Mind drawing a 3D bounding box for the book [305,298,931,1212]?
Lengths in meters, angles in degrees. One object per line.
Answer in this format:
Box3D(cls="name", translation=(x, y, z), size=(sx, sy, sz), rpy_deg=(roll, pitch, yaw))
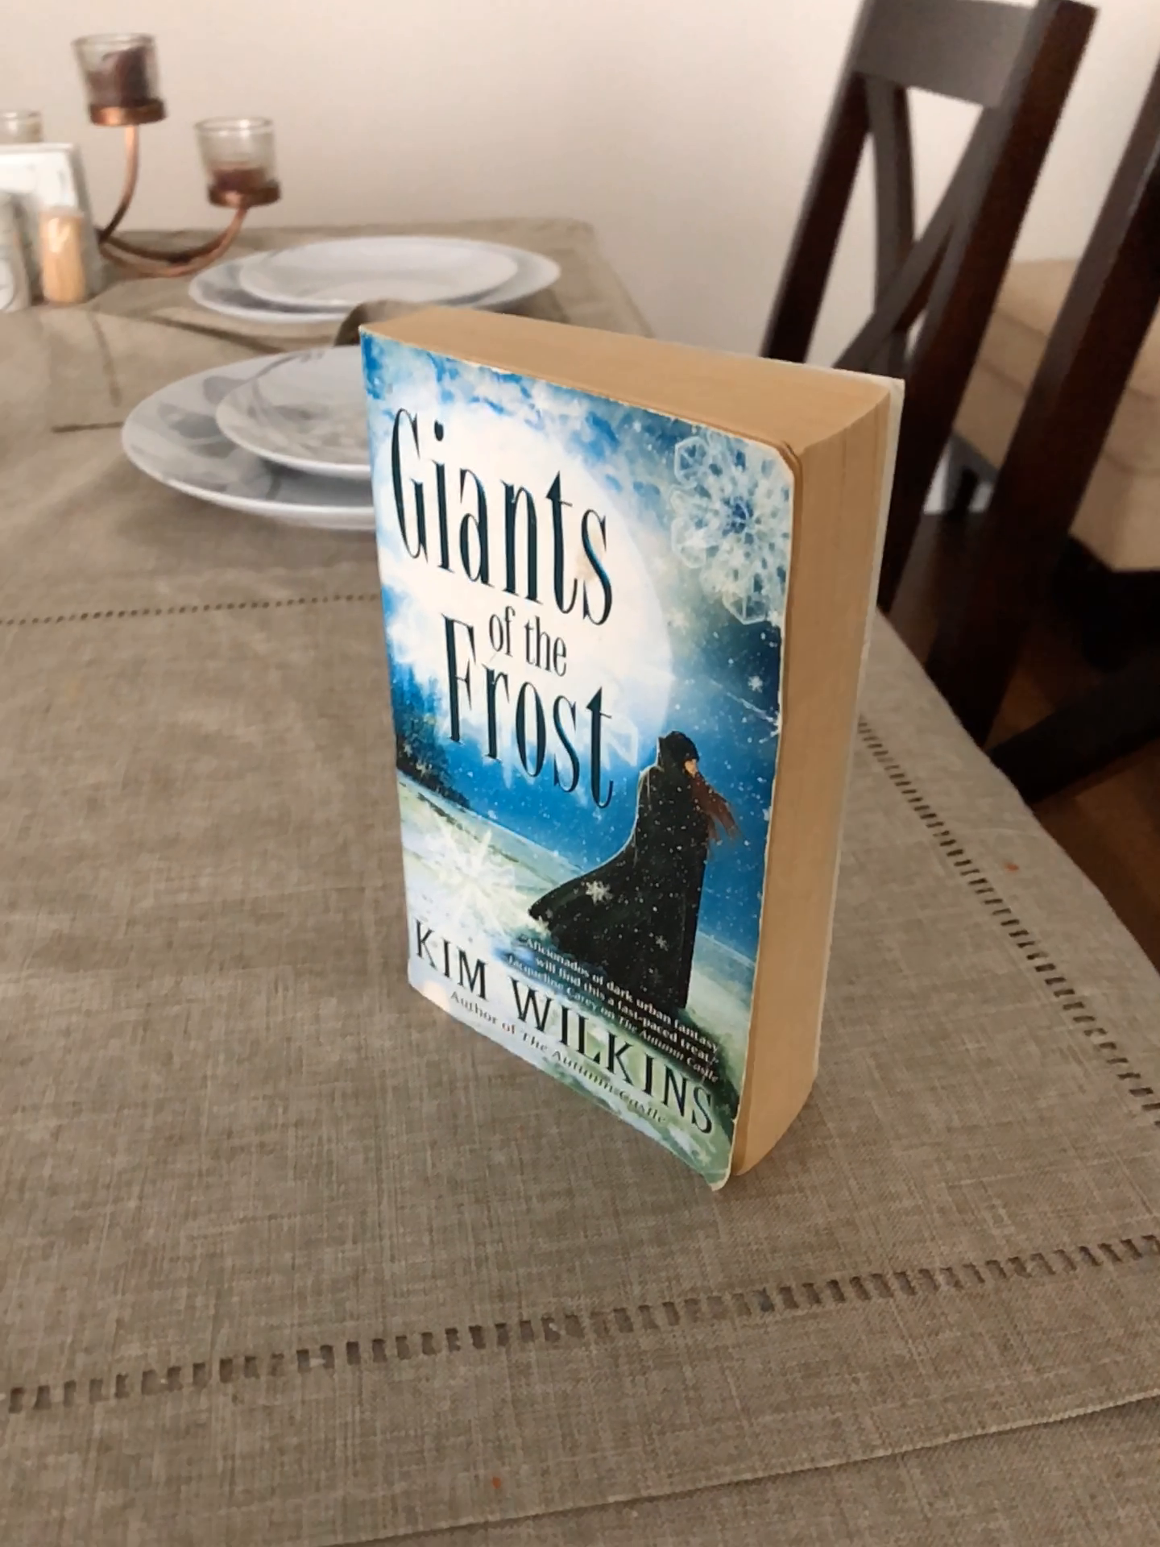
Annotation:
Box3D(cls="book", translation=(0.003, -0.004, 0.280), size=(0.111, 0.168, 0.043), rpy_deg=(23, 38, 32))
